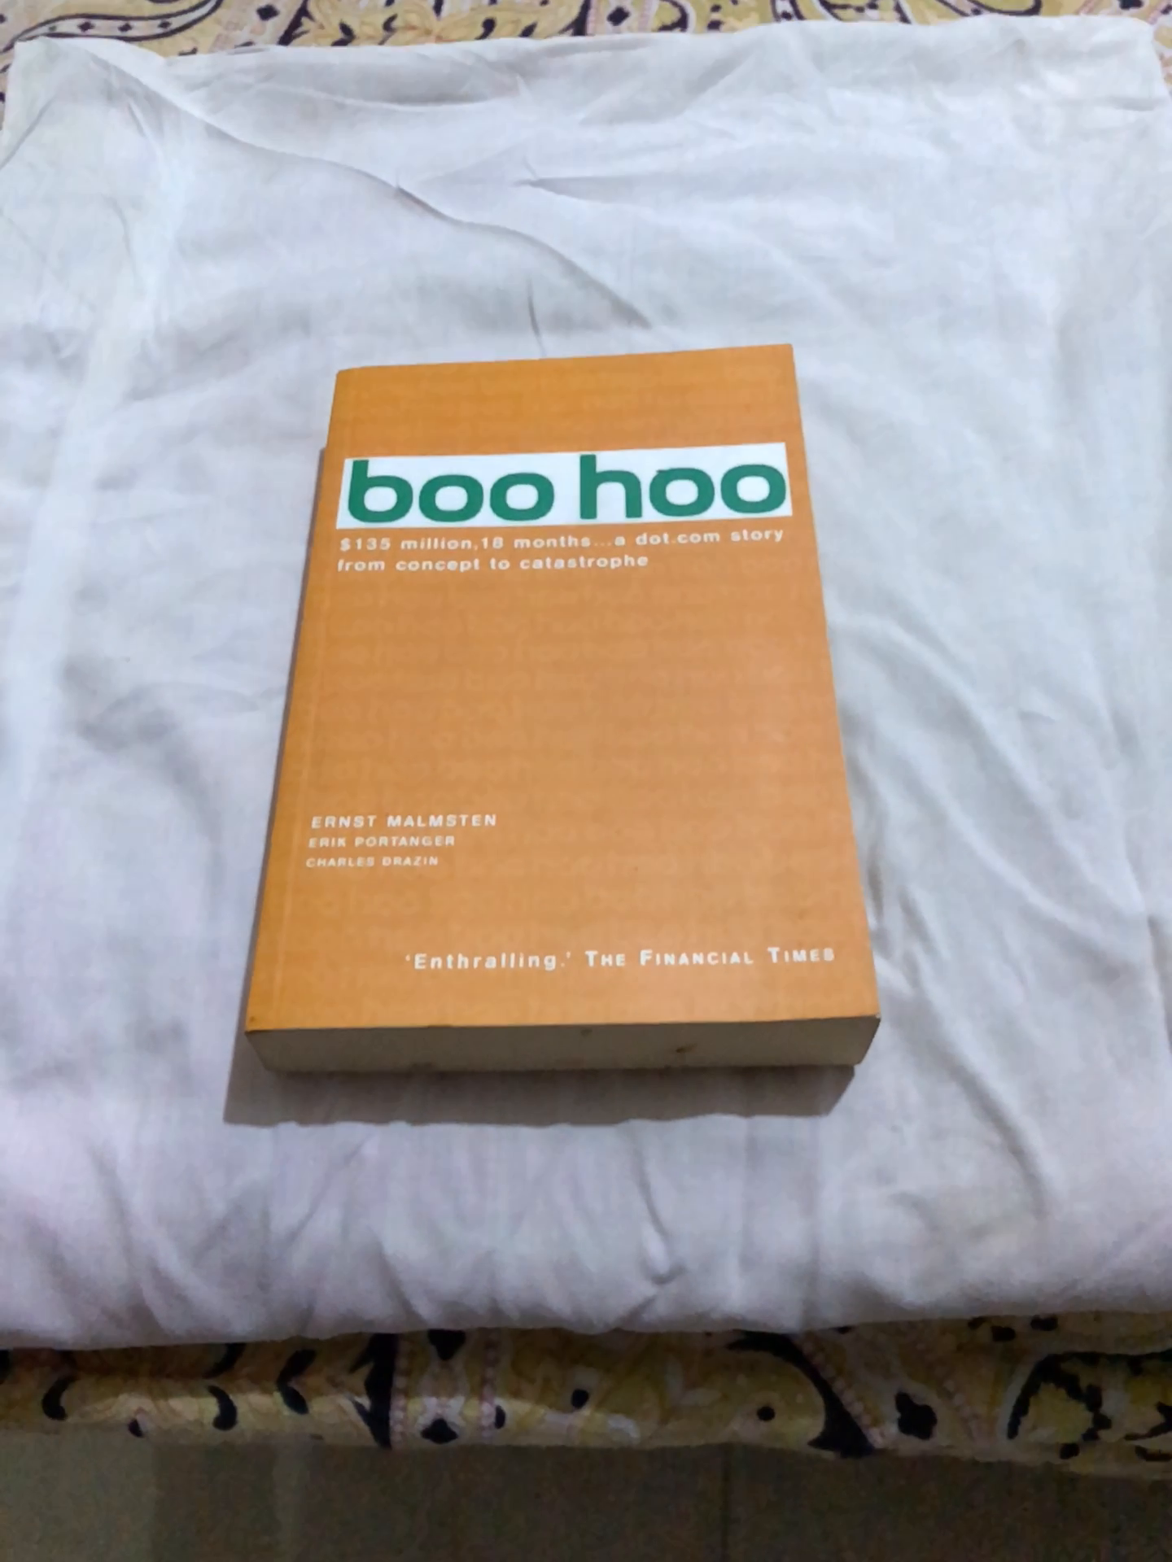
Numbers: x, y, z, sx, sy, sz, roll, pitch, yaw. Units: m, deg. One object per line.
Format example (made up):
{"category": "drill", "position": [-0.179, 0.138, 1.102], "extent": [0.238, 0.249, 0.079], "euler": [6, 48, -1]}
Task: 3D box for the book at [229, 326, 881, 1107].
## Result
{"category": "book", "position": [-0.006, -0.025, 0.328], "extent": [0.130, 0.040, 0.201], "euler": [-3, 59, 4]}
